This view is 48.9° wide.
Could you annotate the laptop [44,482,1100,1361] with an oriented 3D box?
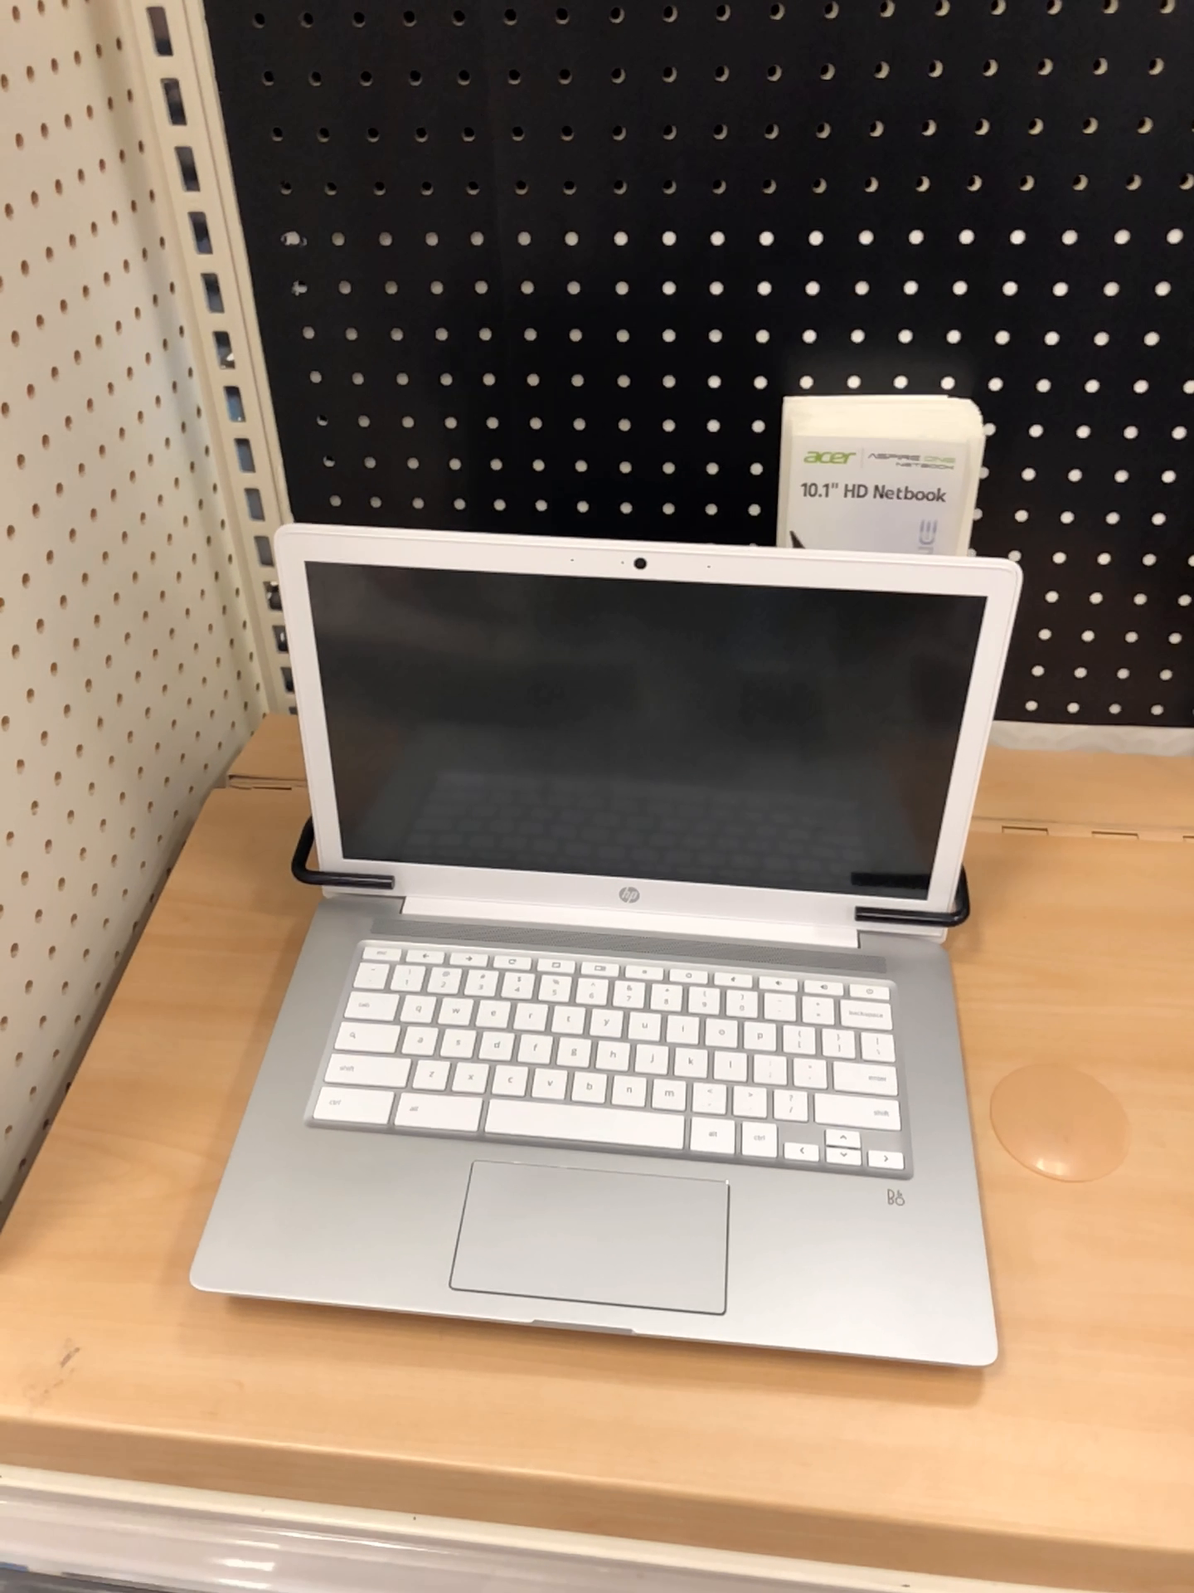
[{"bbox_3d":[0.004,0.037,0.571,0.333,0.198,0.281,3,41,4],"label":"laptop"}]
